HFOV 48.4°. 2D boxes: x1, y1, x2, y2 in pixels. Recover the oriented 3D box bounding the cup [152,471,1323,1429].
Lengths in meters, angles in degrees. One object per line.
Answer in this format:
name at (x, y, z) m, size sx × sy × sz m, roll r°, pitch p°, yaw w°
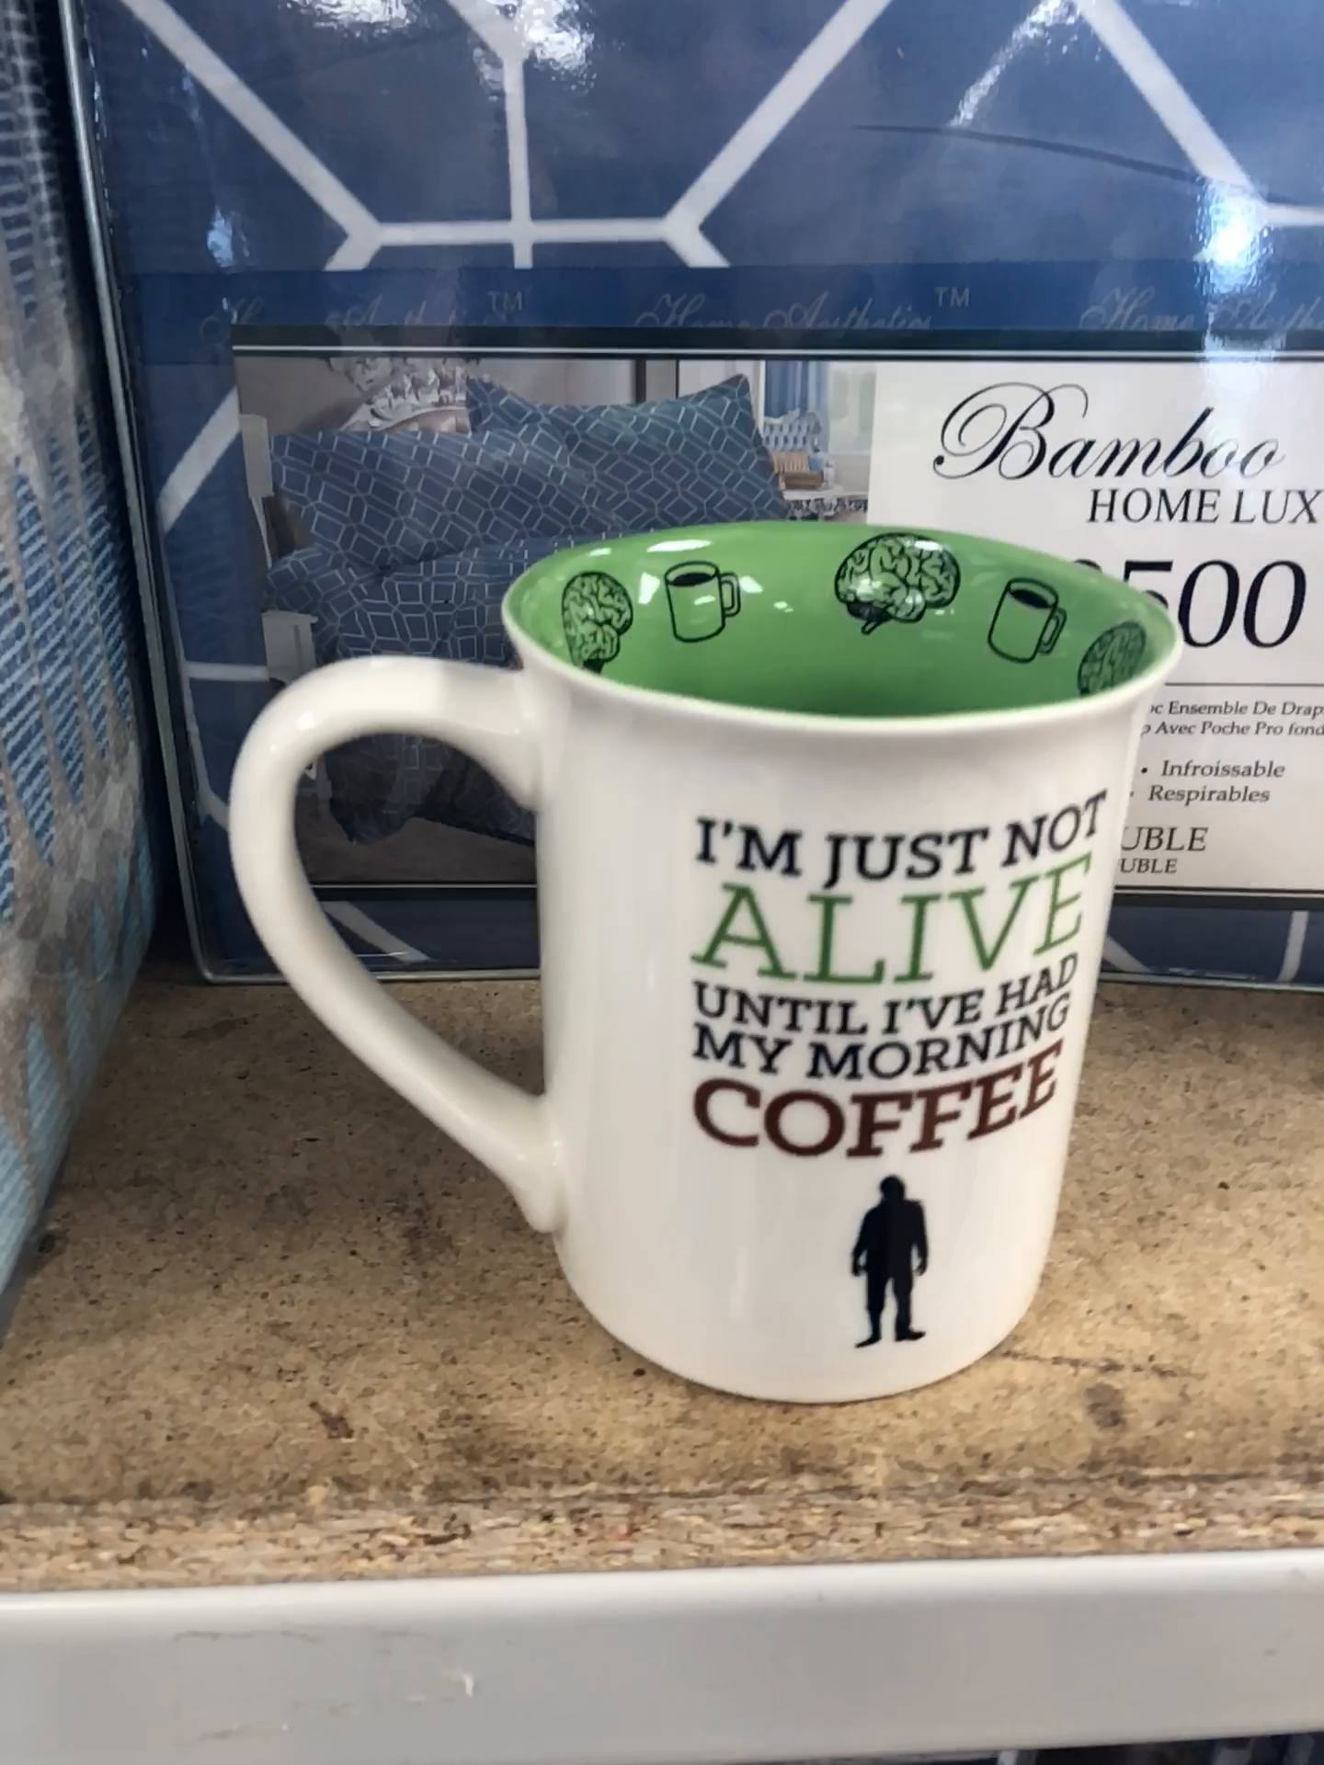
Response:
cup at (0.008, 0.005, 0.245) m, size 0.138 × 0.124 × 0.100 m, roll -1°, pitch 26°, yaw -2°
